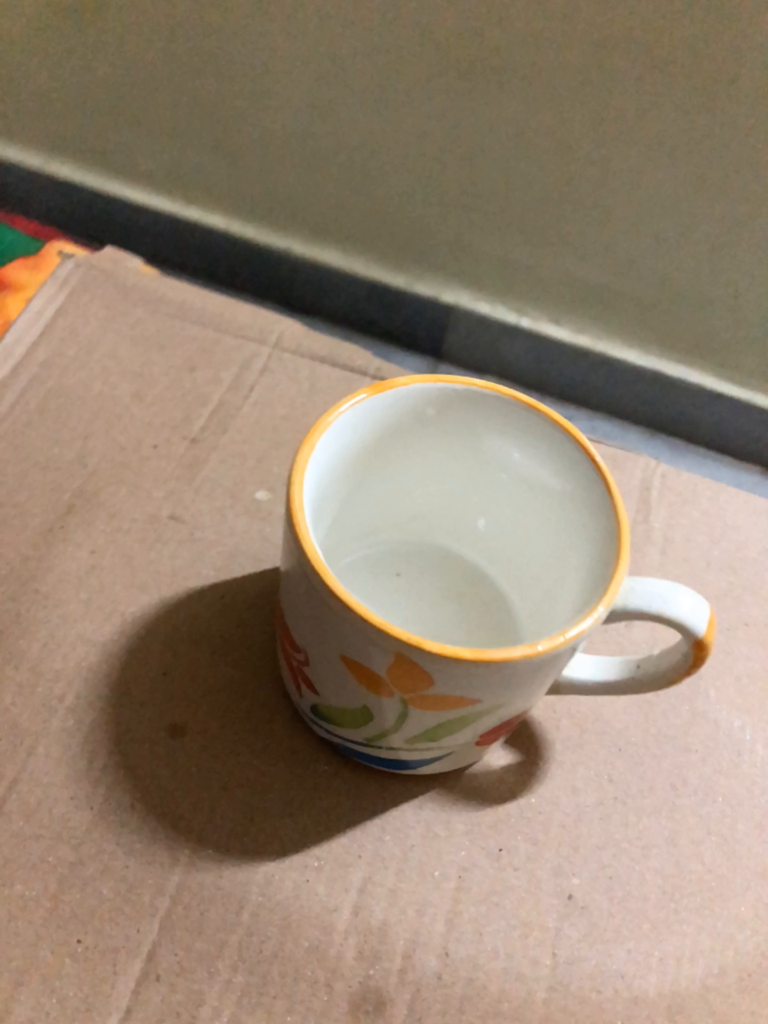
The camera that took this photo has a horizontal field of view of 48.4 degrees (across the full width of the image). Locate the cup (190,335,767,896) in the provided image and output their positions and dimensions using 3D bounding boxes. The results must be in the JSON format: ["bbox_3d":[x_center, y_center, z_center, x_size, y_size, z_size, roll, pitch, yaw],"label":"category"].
[{"bbox_3d":[0.026,0.027,0.219,0.120,0.080,0.090,13,51,1],"label":"cup"}]
